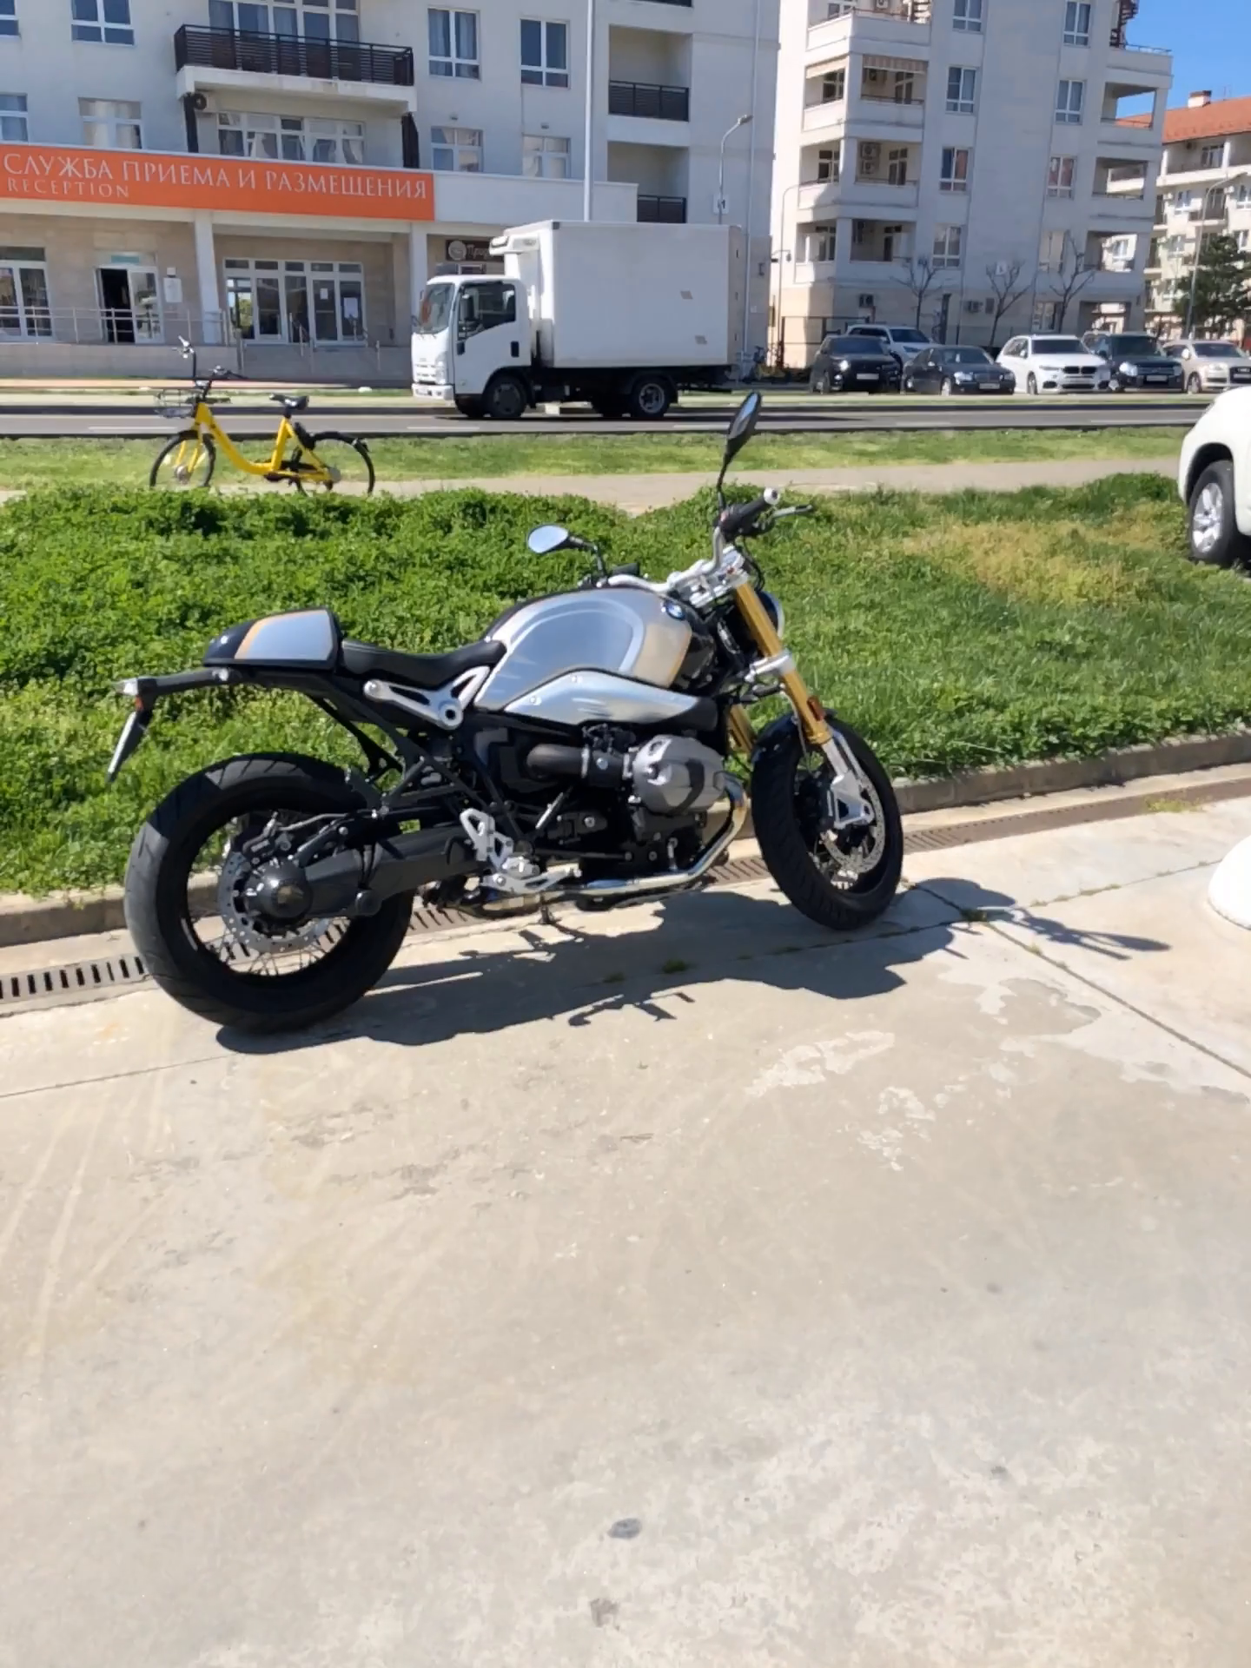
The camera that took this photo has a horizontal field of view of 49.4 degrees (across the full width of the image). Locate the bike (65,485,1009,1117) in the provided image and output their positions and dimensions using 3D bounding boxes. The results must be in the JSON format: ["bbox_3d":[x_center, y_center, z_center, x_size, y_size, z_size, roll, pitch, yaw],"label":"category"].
[{"bbox_3d":[-0.125,-0.214,3.334,2.070,1.122,0.649,-11,23,-30],"label":"bike"}]
